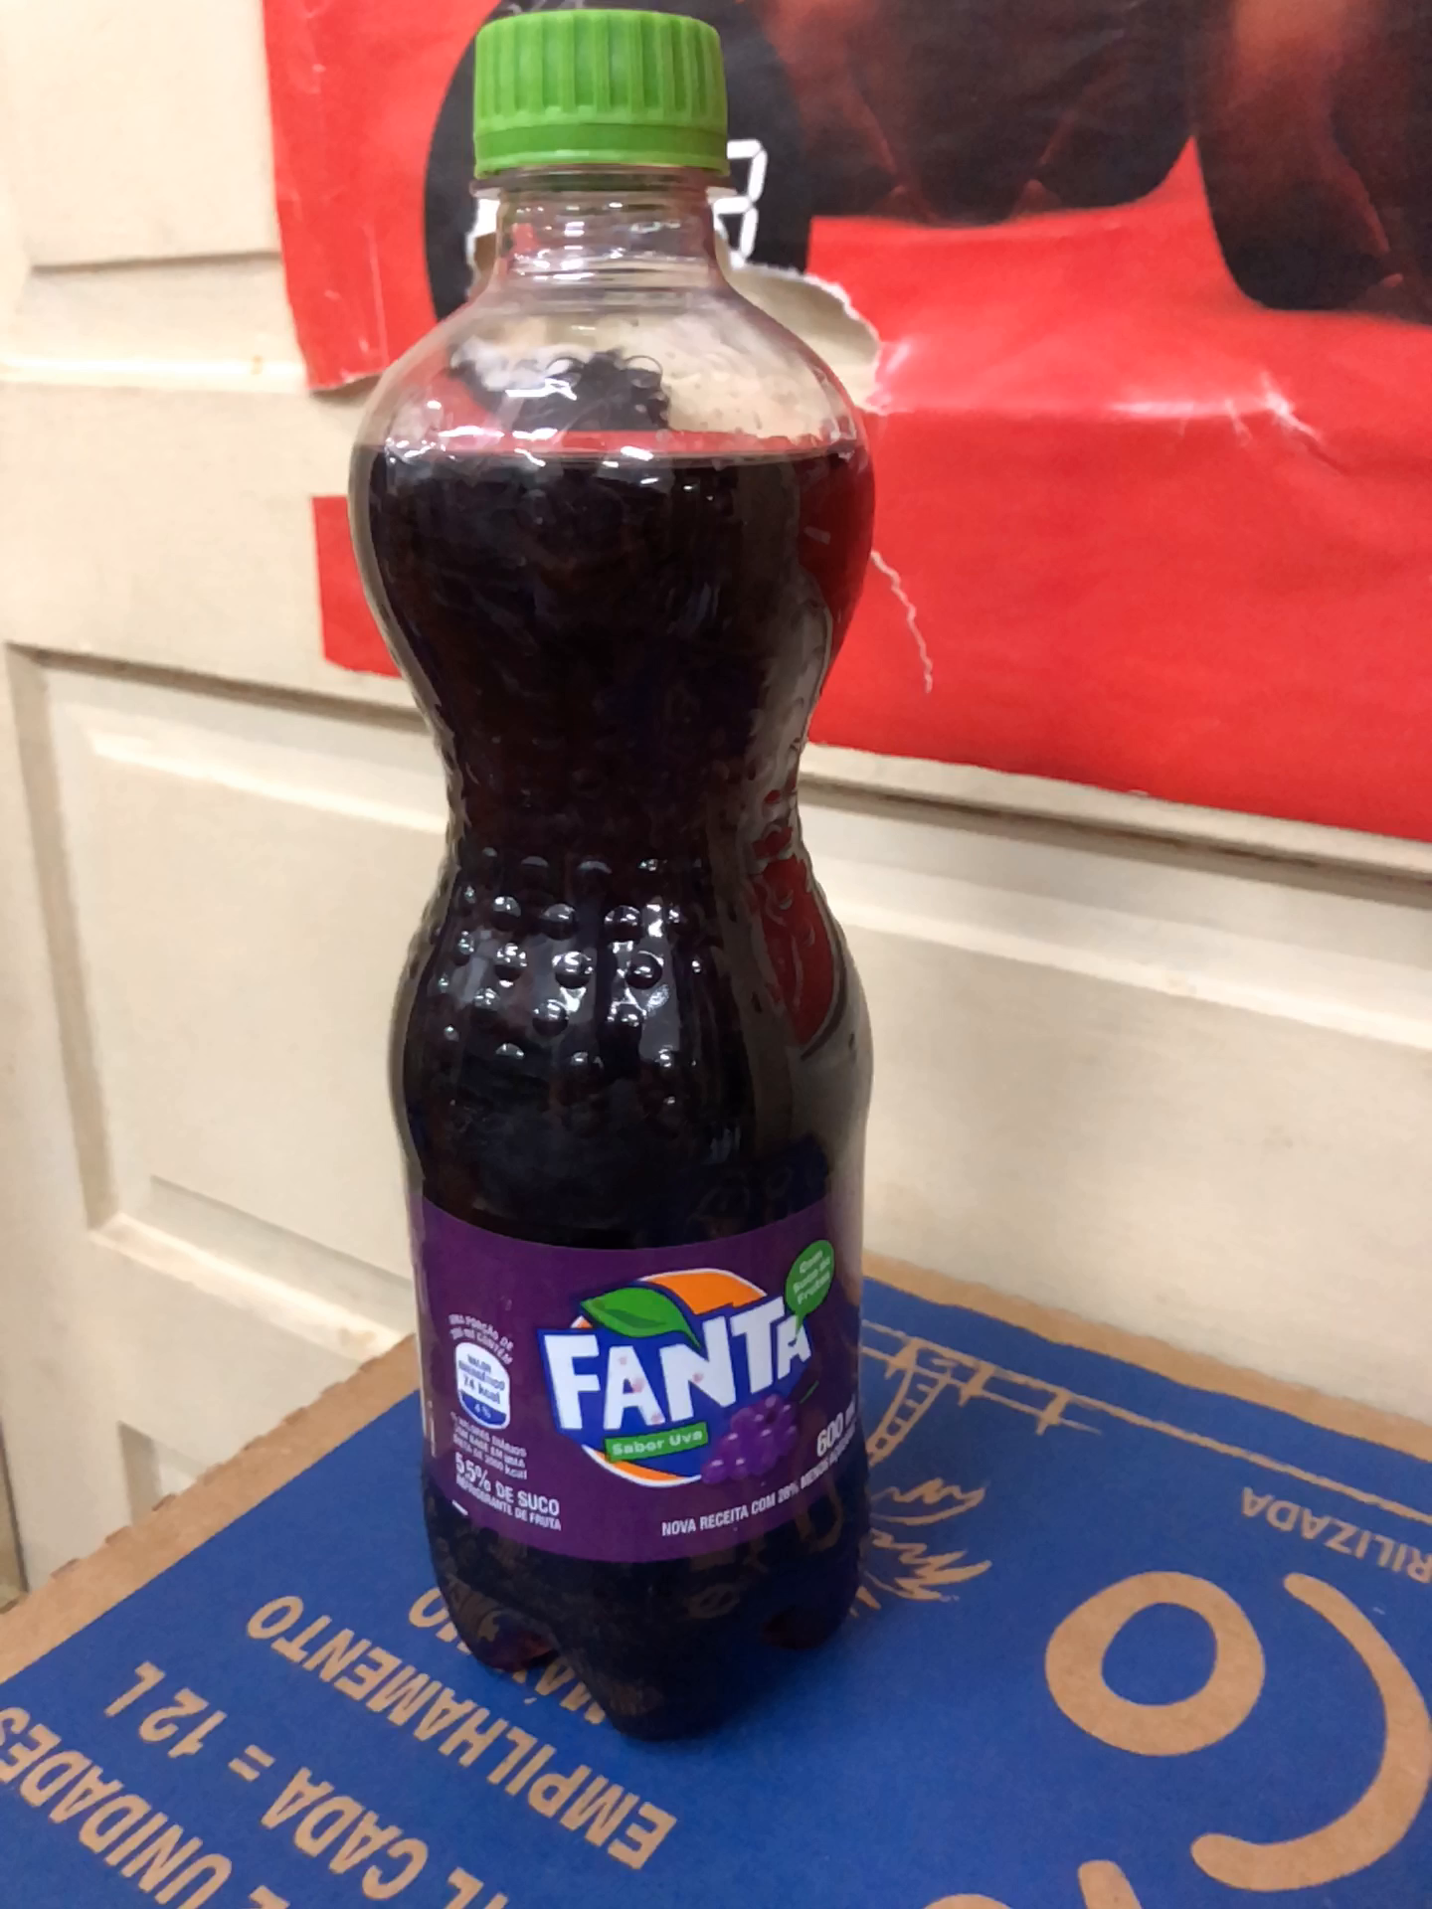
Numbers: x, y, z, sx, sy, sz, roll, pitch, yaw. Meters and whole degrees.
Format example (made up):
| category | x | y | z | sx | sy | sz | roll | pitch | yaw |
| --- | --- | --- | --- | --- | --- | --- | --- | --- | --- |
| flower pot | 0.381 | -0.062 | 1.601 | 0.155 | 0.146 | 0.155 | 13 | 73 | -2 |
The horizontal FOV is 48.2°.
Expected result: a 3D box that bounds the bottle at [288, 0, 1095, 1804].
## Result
| category | x | y | z | sx | sy | sz | roll | pitch | yaw |
| --- | --- | --- | --- | --- | --- | --- | --- | --- | --- |
| bottle | -0.009 | -0.006 | 0.225 | 0.080 | 0.229 | 0.070 | -5 | 20 | -15 |
